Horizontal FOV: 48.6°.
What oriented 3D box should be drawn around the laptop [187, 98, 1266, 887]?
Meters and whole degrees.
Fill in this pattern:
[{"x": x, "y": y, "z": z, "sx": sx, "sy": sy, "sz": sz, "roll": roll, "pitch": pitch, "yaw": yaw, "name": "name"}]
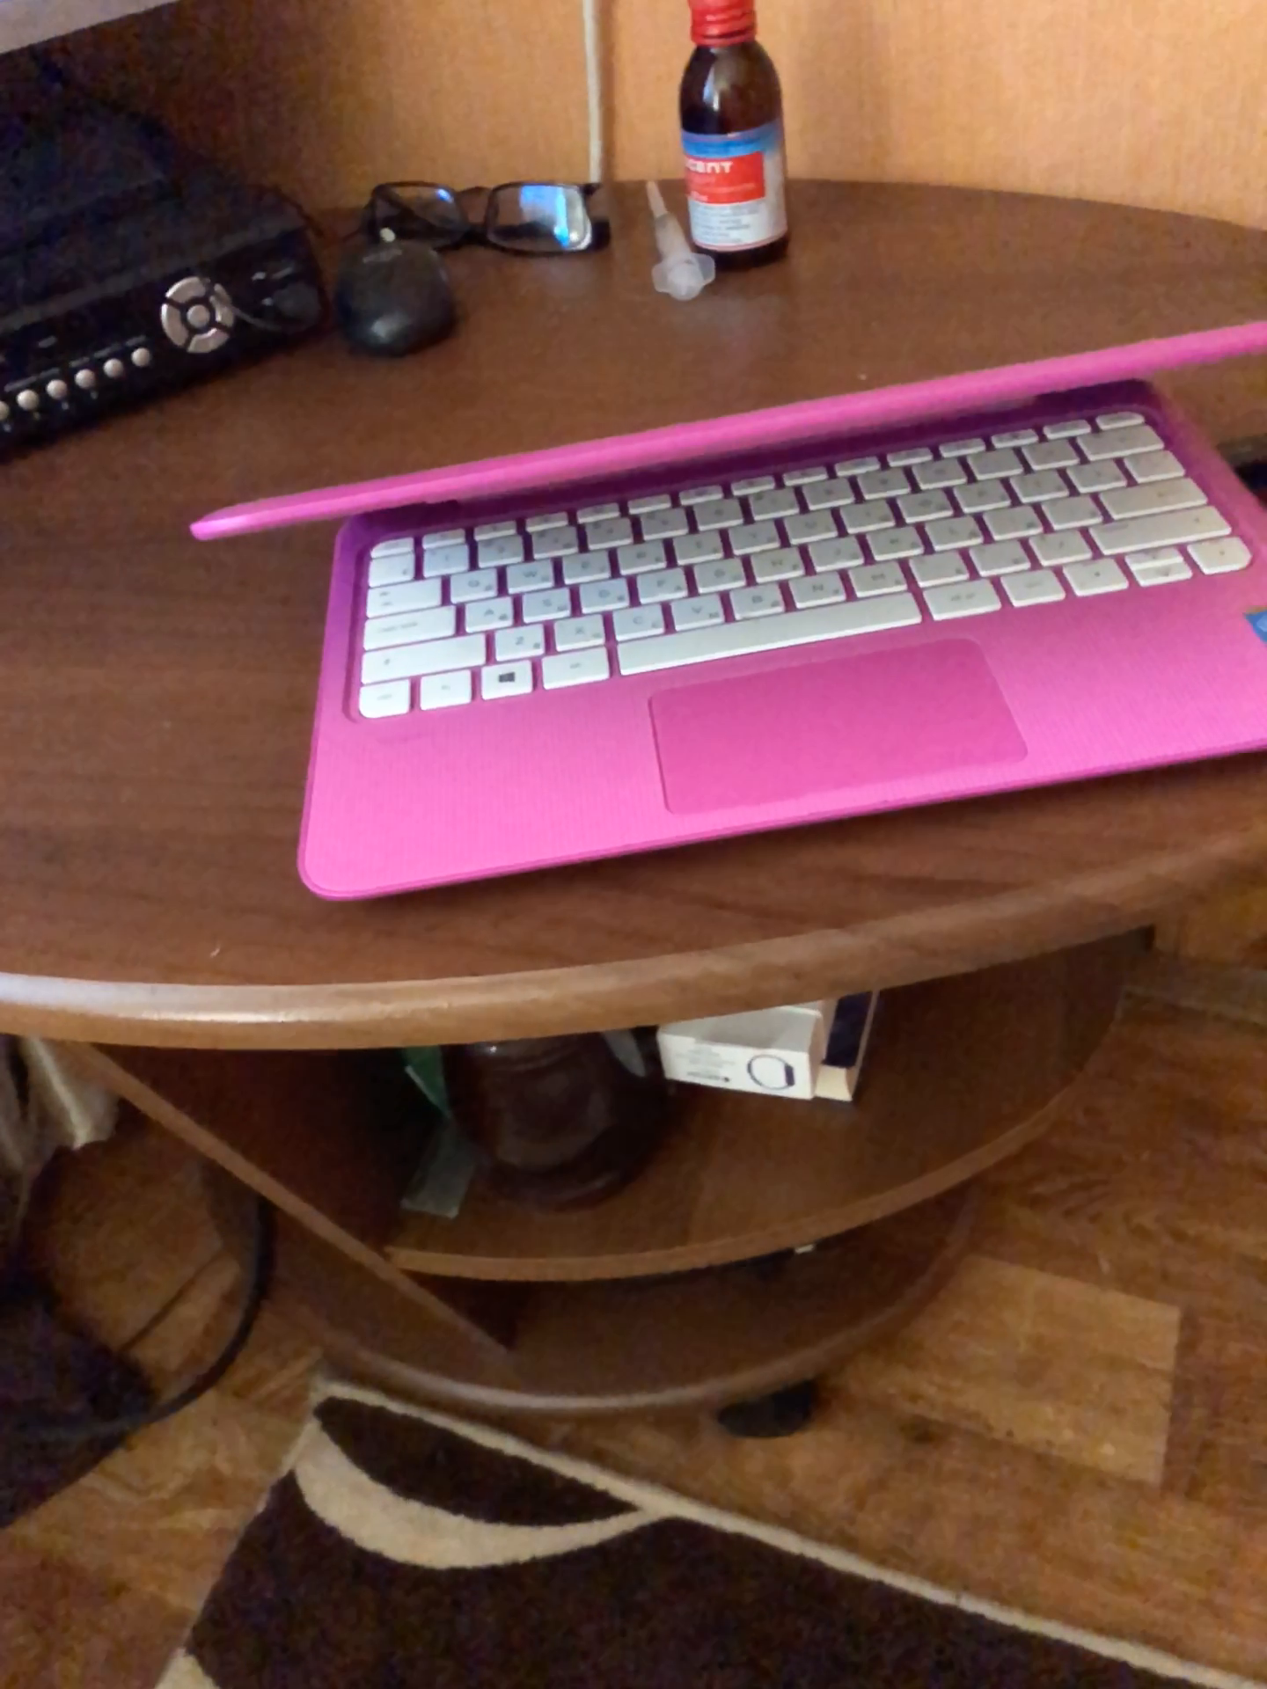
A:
[{"x": 0.038, "y": -0.104, "z": 0.372, "sx": 0.264, "sy": 0.081, "sz": 0.187, "roll": -10, "pitch": 43, "yaw": 2, "name": "laptop"}]
